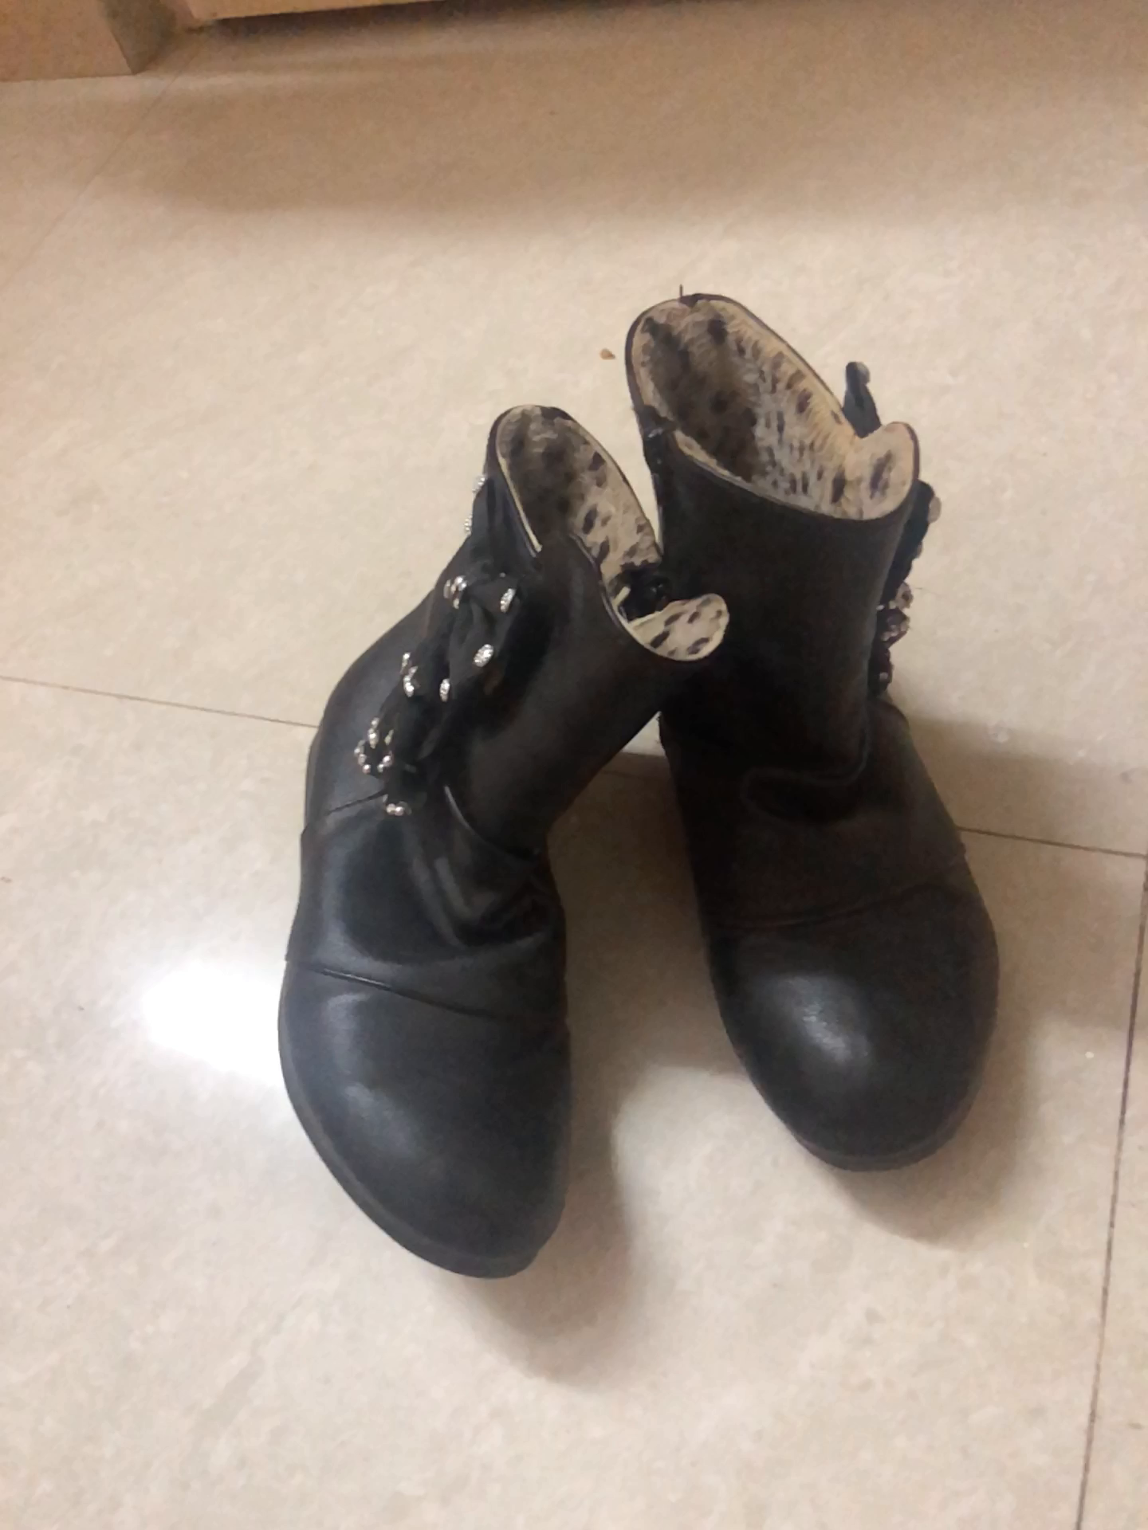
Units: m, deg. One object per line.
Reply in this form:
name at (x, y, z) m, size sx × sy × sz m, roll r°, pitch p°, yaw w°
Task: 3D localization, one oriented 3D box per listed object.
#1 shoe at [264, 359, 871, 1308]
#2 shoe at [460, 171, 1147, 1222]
shoe at (-0.024, 0.019, 0.343) m, size 0.090 × 0.139 × 0.201 m, roll 7°, pitch 50°, yaw -23°
shoe at (0.048, -0.021, 0.332) m, size 0.090 × 0.139 × 0.221 m, roll -16°, pitch 54°, yaw 4°
